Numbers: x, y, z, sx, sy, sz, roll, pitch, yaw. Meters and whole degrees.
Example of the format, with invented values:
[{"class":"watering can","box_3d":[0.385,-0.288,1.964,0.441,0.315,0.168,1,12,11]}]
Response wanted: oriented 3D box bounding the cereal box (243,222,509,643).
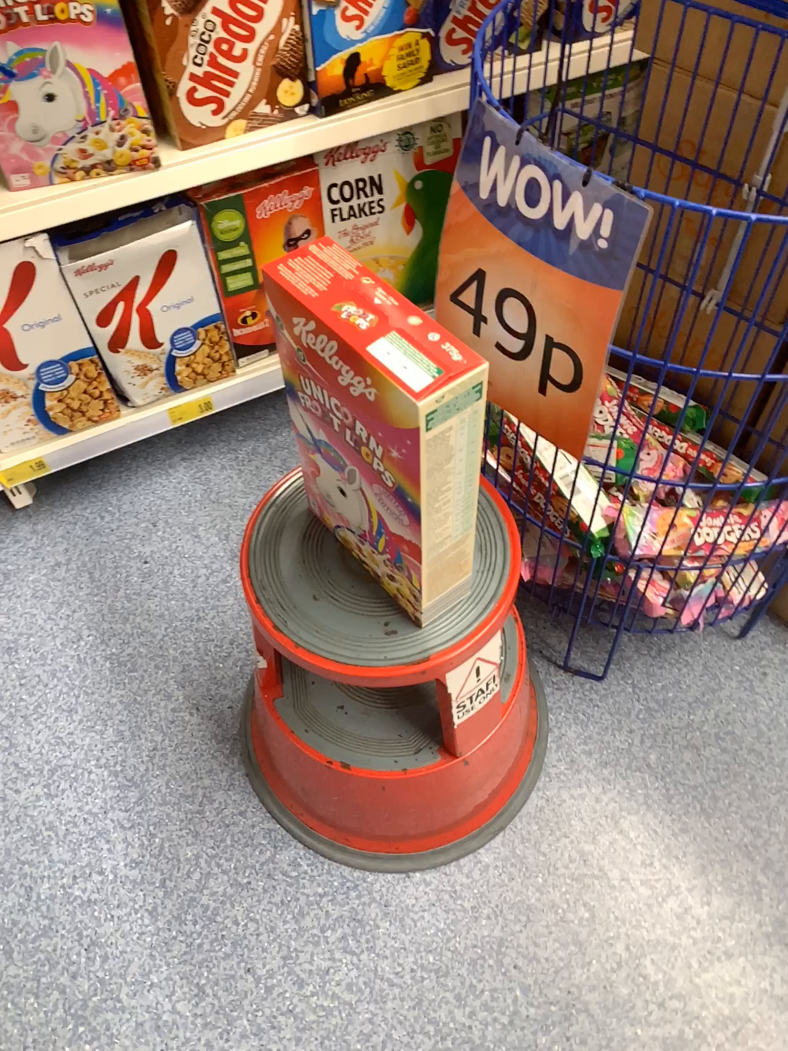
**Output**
[{"class":"cereal box","box_3d":[-0.016,-0.064,0.665,0.070,0.288,0.211,-33,59,-21]}]
